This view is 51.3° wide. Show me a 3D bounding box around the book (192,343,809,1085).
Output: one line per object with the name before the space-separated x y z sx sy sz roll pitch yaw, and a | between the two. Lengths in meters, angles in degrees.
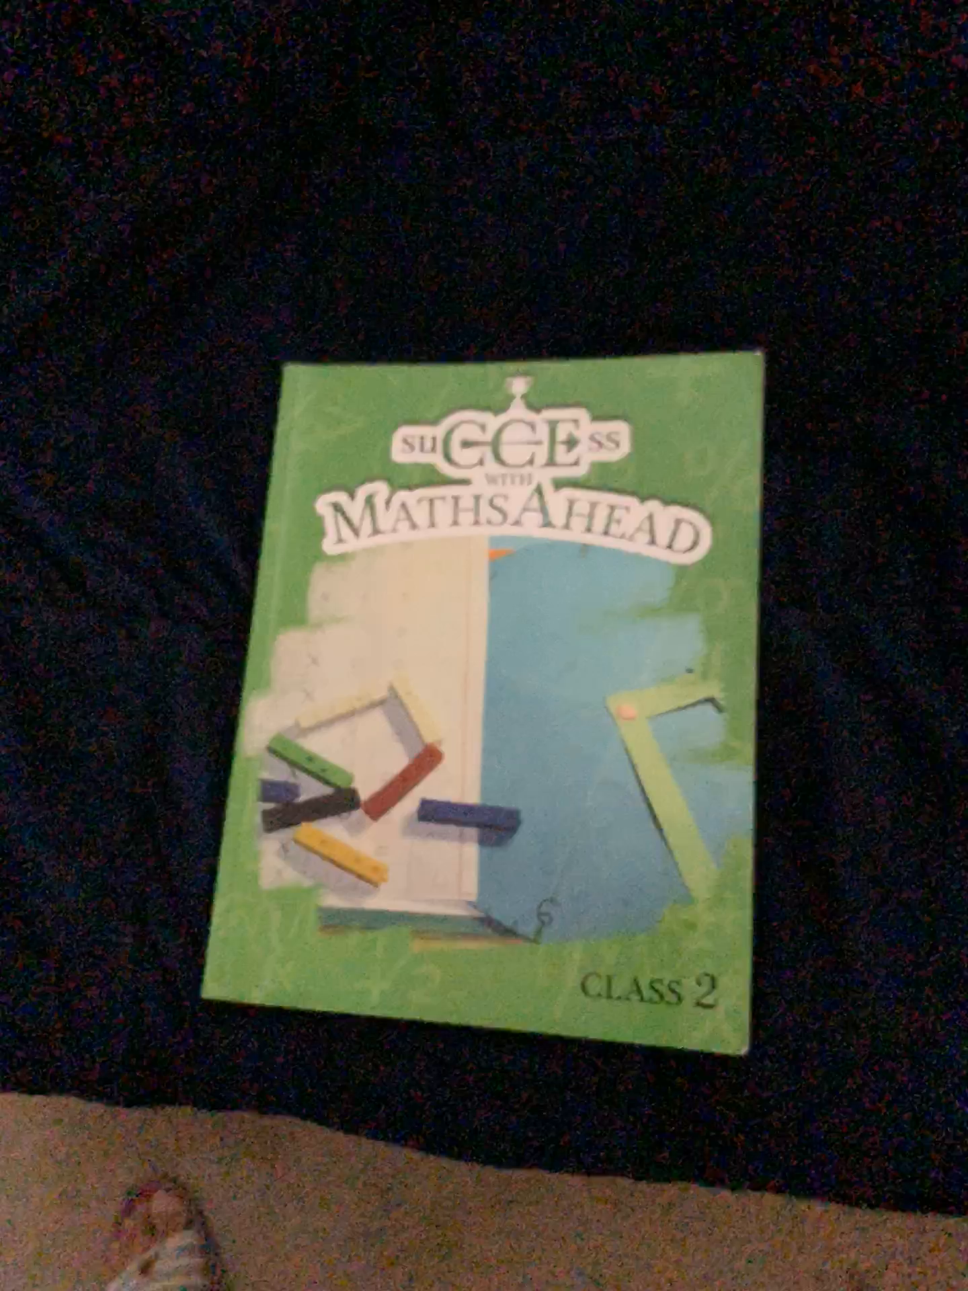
book | 0.008 0.014 0.411 0.230 0.020 0.280 2 80 12
